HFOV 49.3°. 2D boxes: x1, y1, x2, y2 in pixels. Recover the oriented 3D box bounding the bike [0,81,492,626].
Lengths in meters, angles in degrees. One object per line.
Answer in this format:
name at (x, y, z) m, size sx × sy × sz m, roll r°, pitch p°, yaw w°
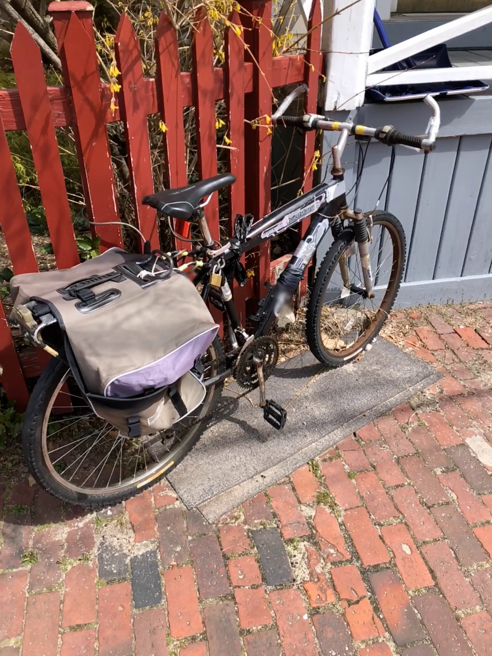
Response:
bike at (0.044, -0.131, 1.832) m, size 1.732 × 1.000 × 0.673 m, roll -29°, pitch 42°, yaw -34°
